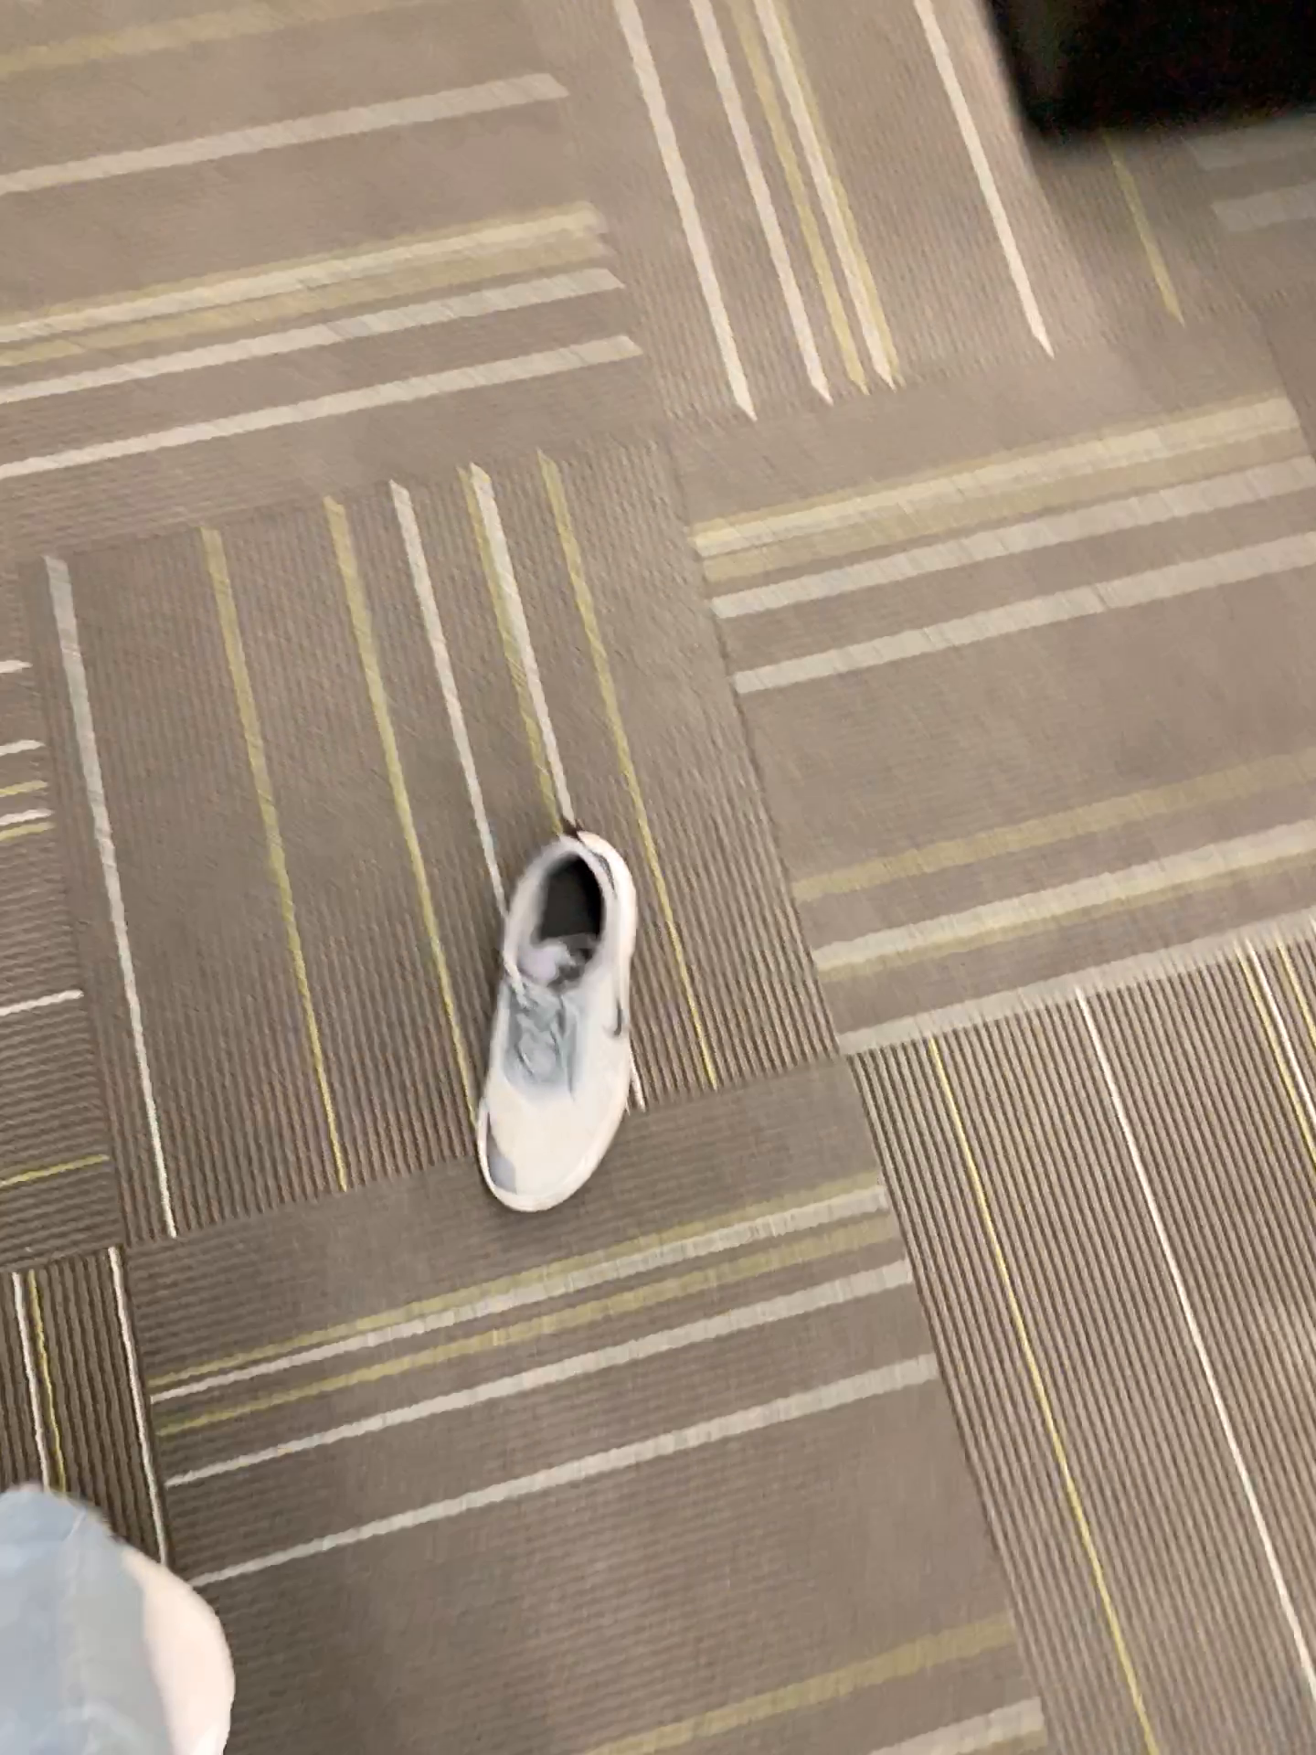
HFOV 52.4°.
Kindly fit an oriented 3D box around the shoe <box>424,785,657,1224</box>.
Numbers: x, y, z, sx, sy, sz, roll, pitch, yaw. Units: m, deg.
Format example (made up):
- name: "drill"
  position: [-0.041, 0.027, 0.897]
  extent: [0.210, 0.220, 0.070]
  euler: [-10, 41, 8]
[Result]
- name: "shoe"
  position: [-0.089, 0.104, 1.078]
  extent: [0.160, 0.110, 0.330]
  euler: [3, 77, -2]
